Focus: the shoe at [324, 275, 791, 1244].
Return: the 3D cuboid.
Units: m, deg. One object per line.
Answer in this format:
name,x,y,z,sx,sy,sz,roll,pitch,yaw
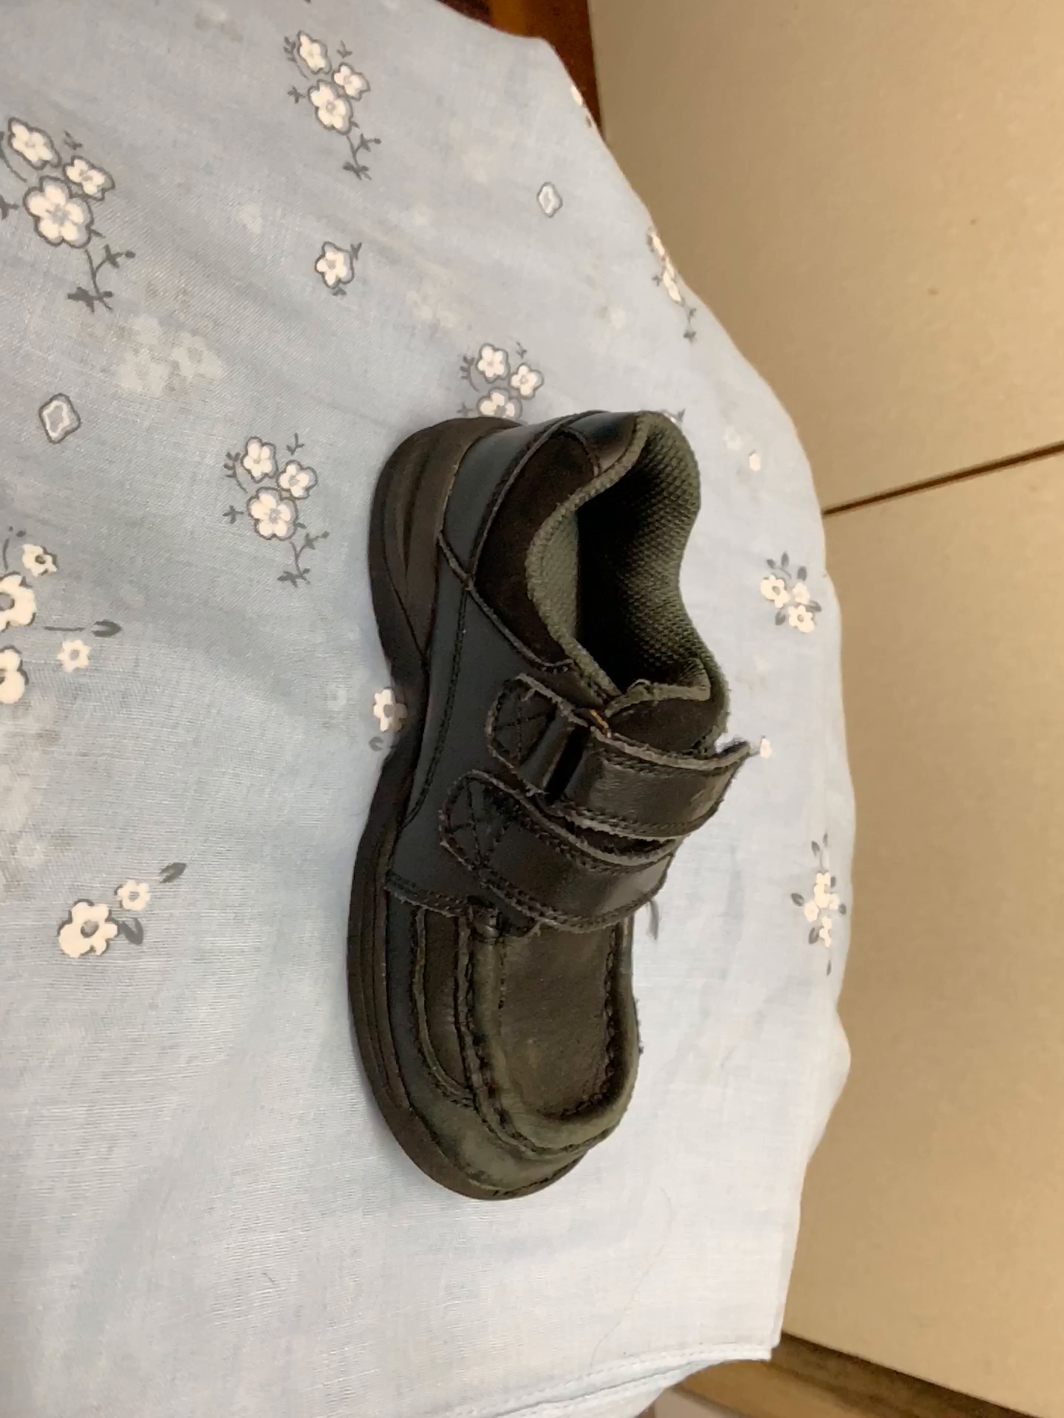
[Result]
shoe,0.006,0.011,0.267,0.079,0.073,0.190,8,78,-43
